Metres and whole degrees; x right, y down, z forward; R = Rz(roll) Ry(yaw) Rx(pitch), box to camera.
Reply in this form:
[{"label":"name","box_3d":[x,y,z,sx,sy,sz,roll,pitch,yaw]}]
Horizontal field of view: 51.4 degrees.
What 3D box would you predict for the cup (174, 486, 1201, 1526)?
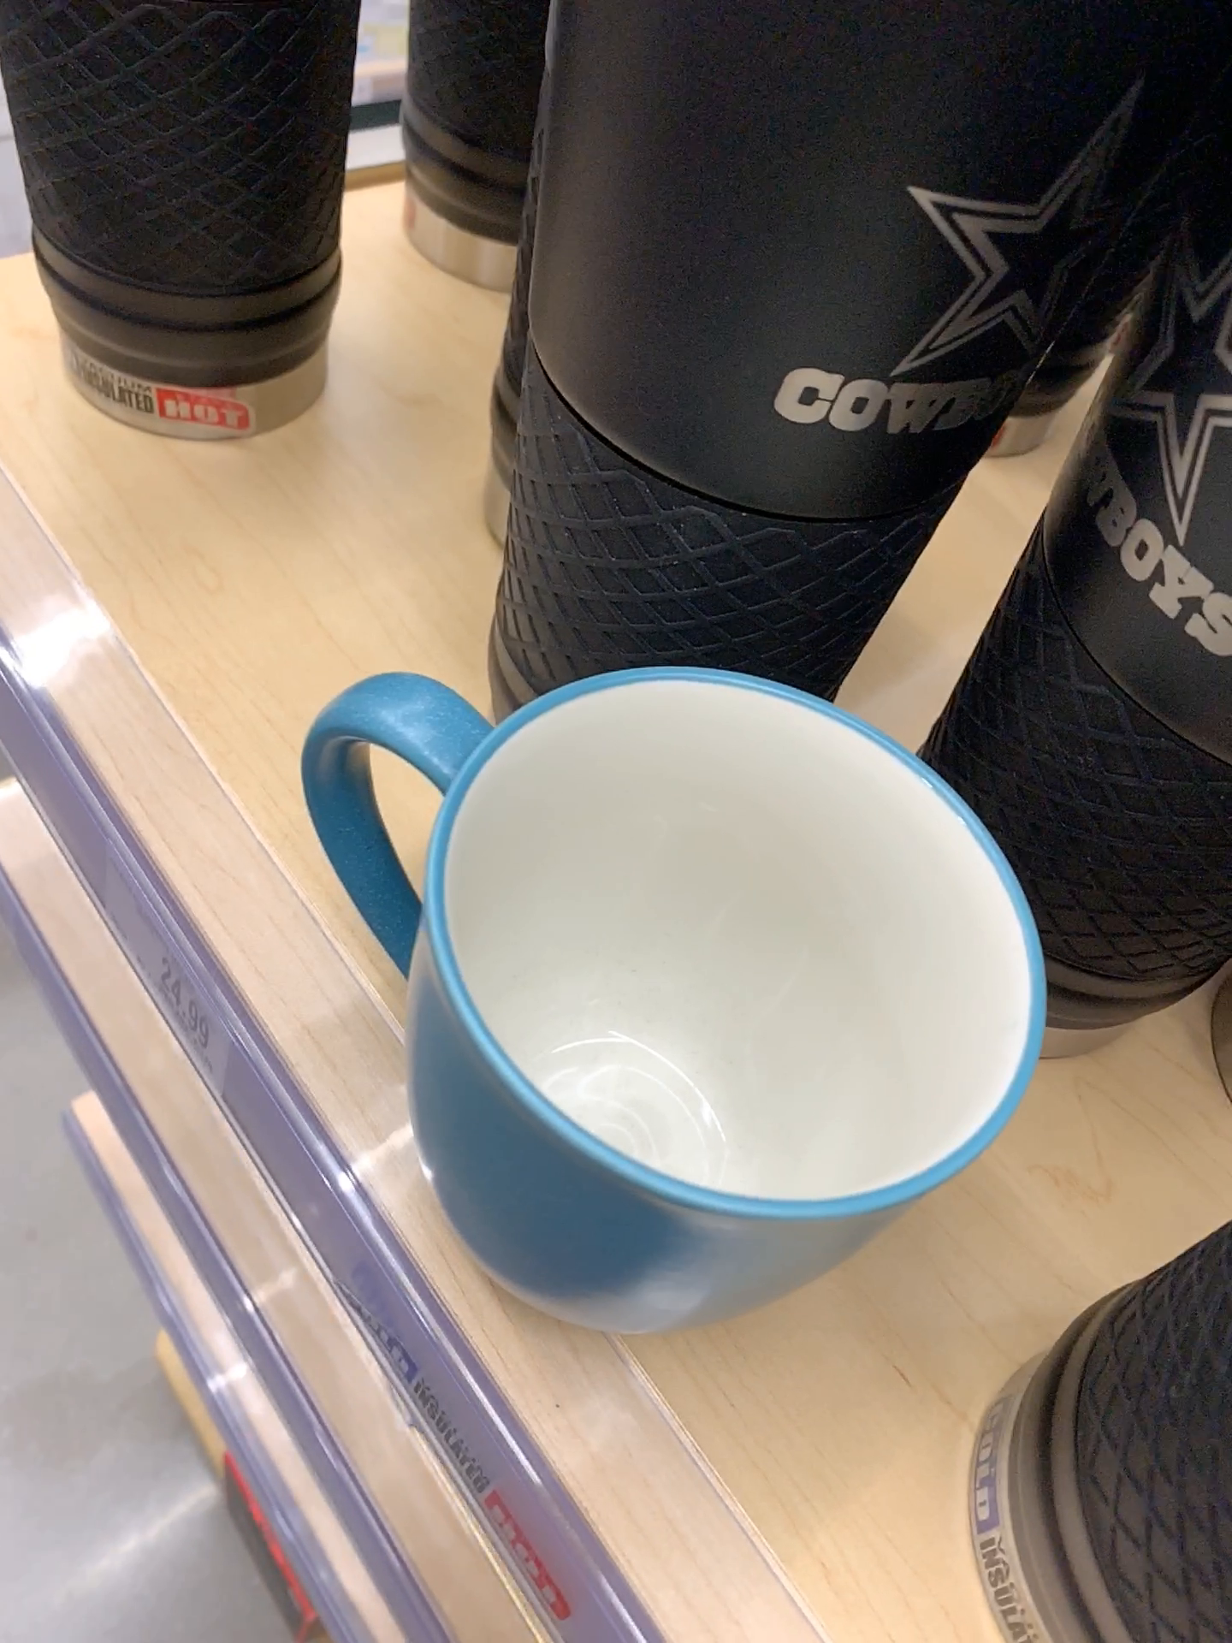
[{"label":"cup","box_3d":[0.004,0.027,0.210,0.116,0.084,0.090,43,56,17]}]
